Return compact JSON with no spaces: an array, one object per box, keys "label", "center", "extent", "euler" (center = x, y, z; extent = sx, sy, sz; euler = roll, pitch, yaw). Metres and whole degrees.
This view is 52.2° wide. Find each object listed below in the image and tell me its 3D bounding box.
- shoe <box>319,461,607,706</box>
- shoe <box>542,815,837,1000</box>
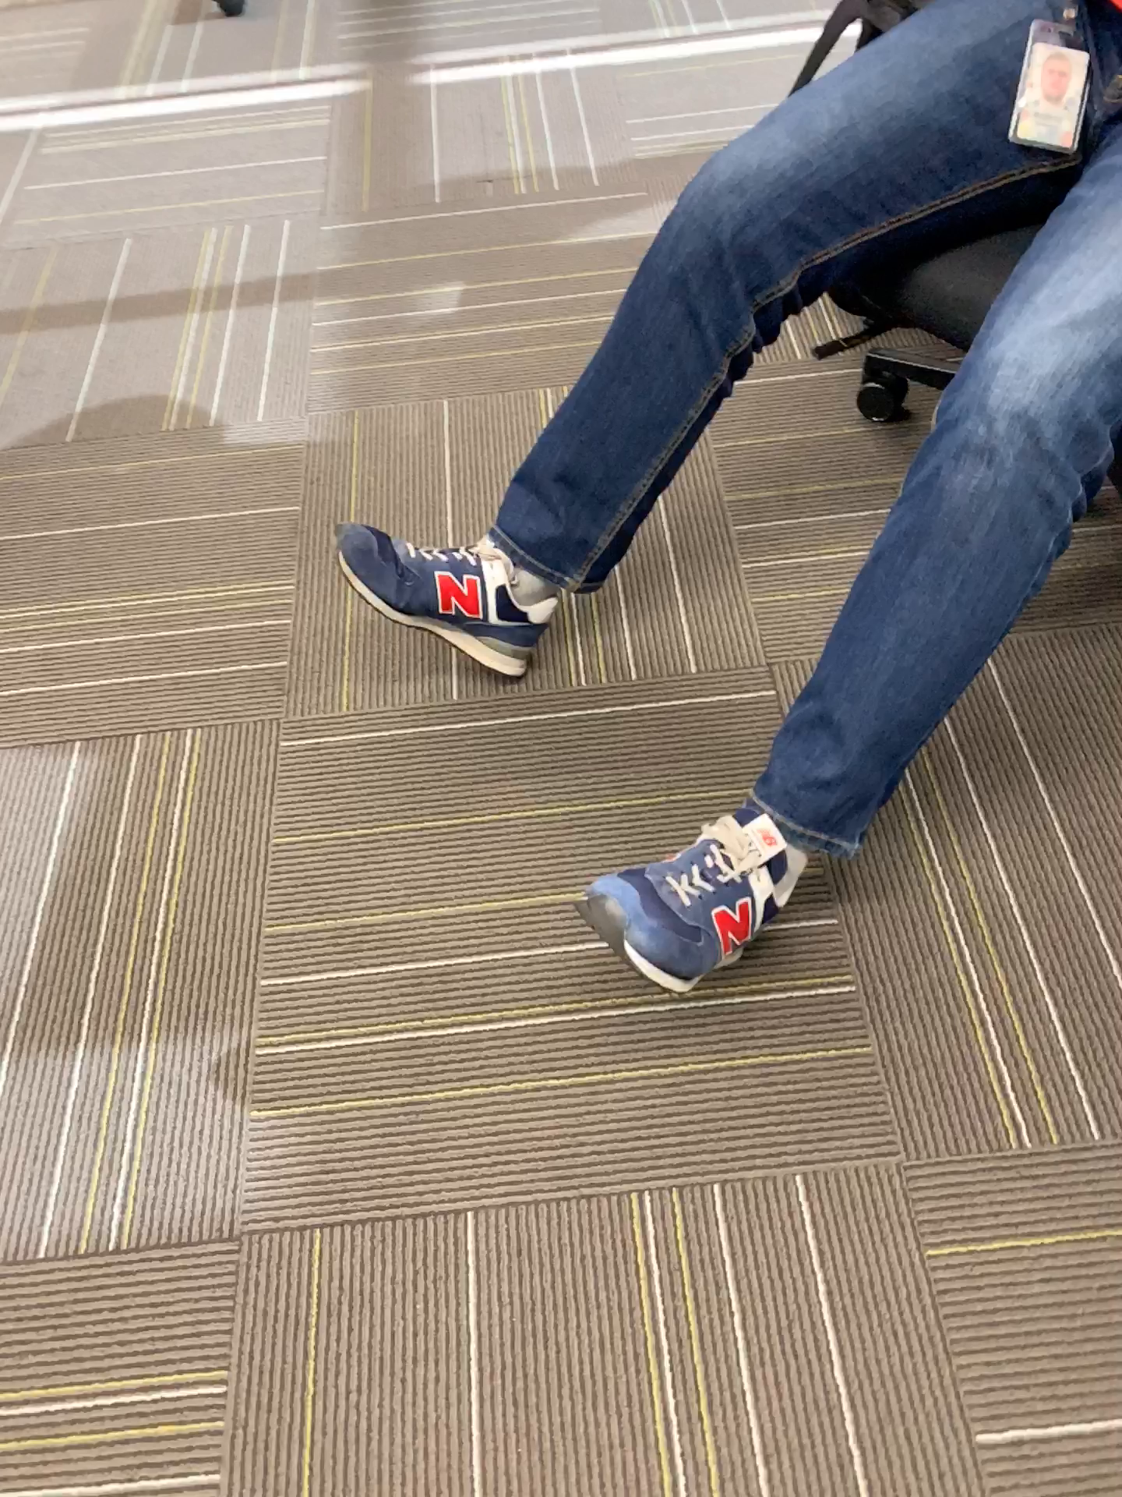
[{"label":"shoe","center":[-0.112,-0.187,1.349],"extent":[0.136,0.295,0.121],"euler":[-51,40,17]},{"label":"shoe","center":[0.128,0.139,1.039],"extent":[0.115,0.302,0.096],"euler":[40,106,29]}]
